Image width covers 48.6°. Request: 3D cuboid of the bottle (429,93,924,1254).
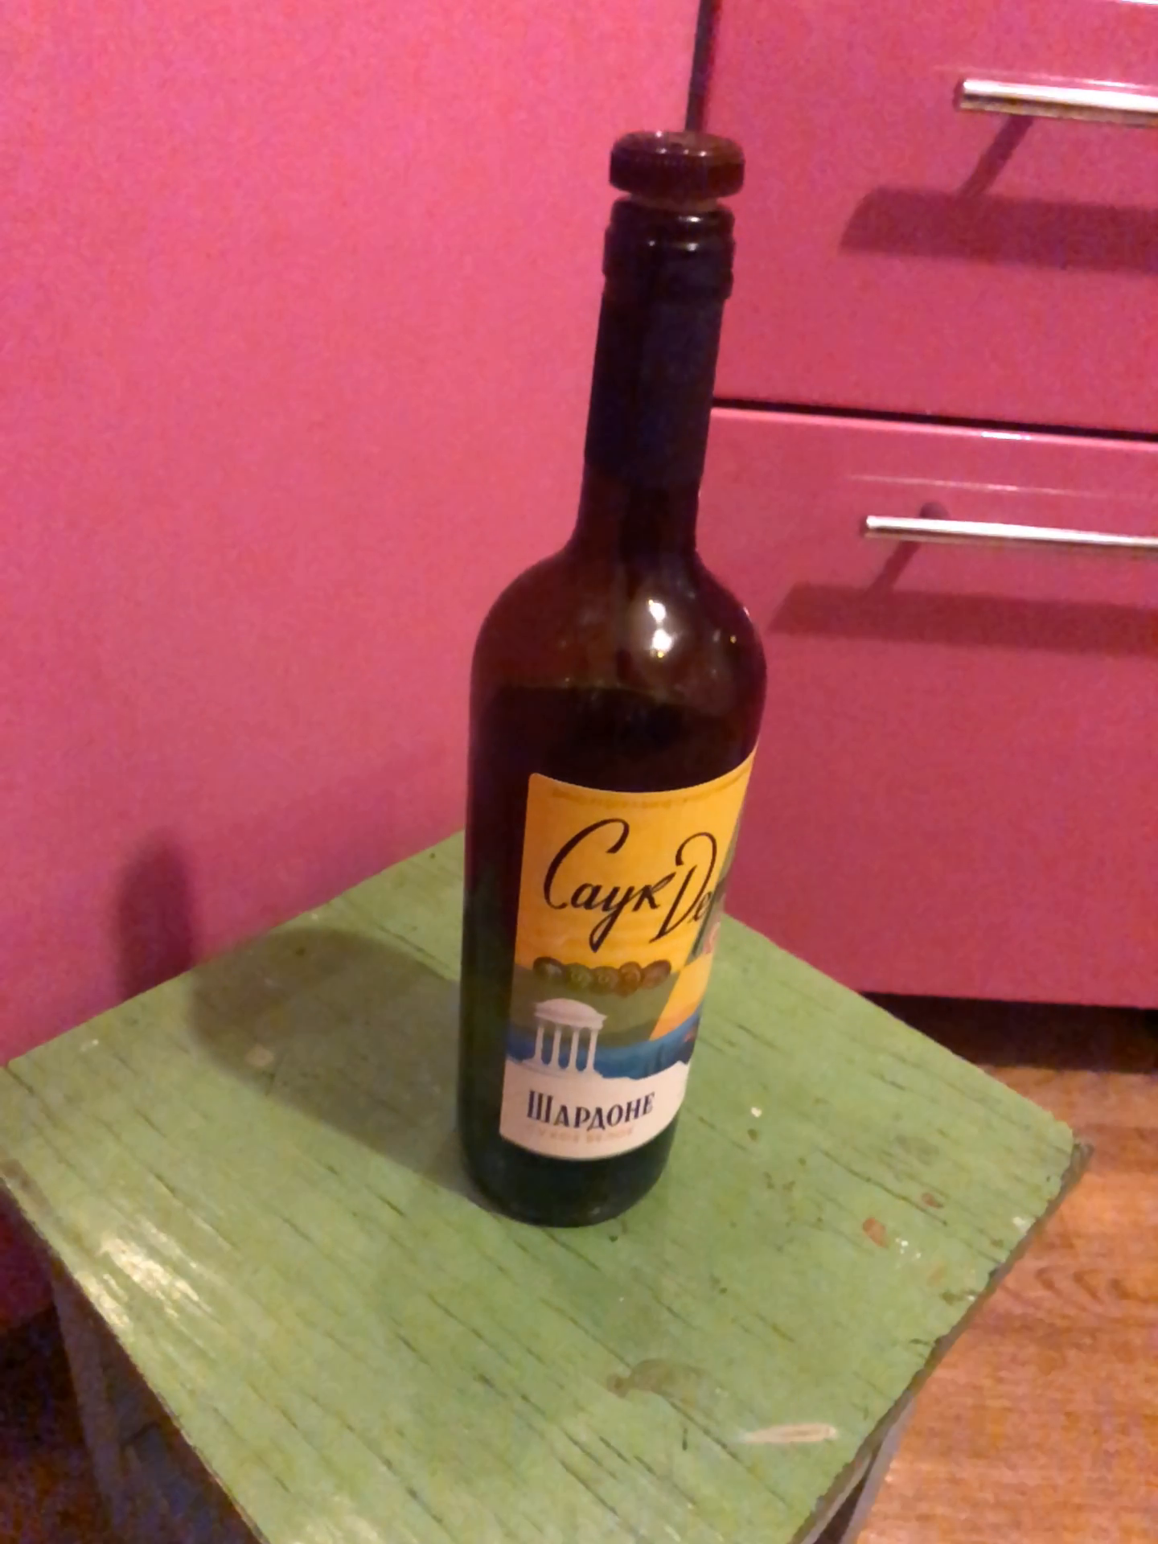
[{"bbox_3d":[0.007,-0.004,0.340,0.071,0.301,0.071,4,33,-3],"label":"bottle"}]
